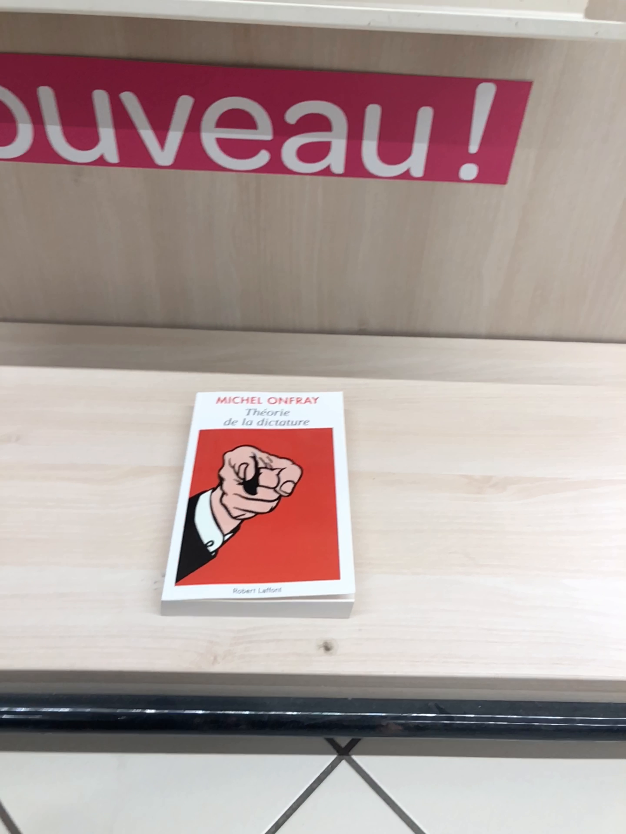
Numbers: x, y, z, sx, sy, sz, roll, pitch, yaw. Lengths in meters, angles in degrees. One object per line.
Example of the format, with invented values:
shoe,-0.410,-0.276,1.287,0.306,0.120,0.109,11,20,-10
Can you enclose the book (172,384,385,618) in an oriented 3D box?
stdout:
book,-0.024,0.054,0.535,0.138,0.029,0.208,2,43,-2
